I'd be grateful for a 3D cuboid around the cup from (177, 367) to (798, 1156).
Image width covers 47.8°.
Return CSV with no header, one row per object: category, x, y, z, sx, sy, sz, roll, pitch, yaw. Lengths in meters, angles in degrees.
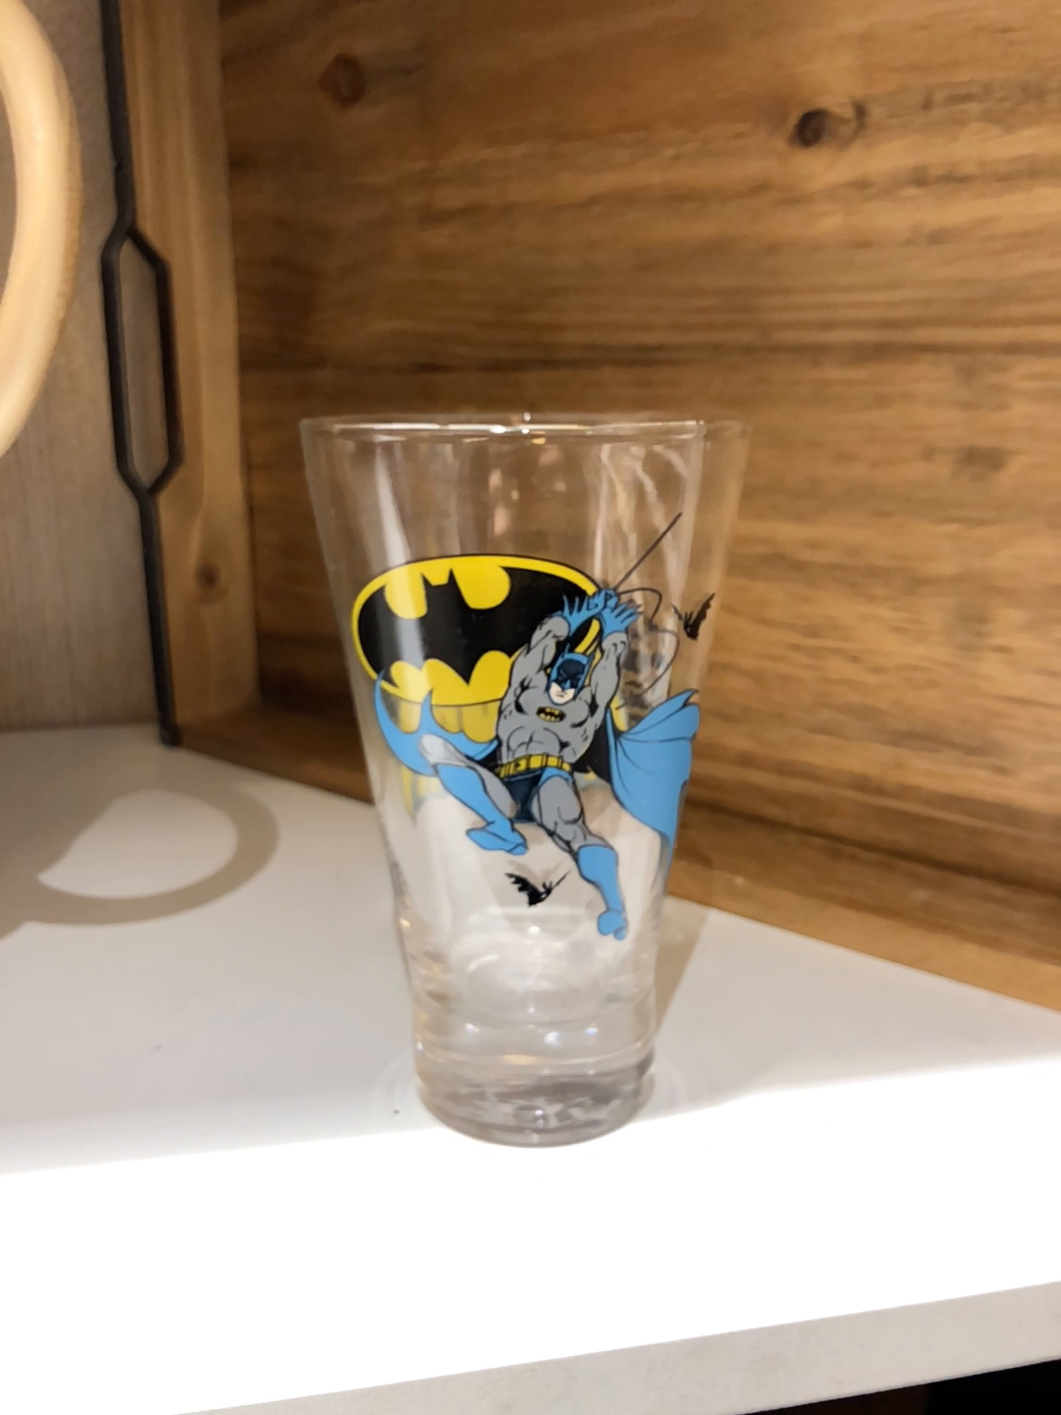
cup,-0.006,0.003,0.228,0.090,0.129,0.080,-1,15,-1
